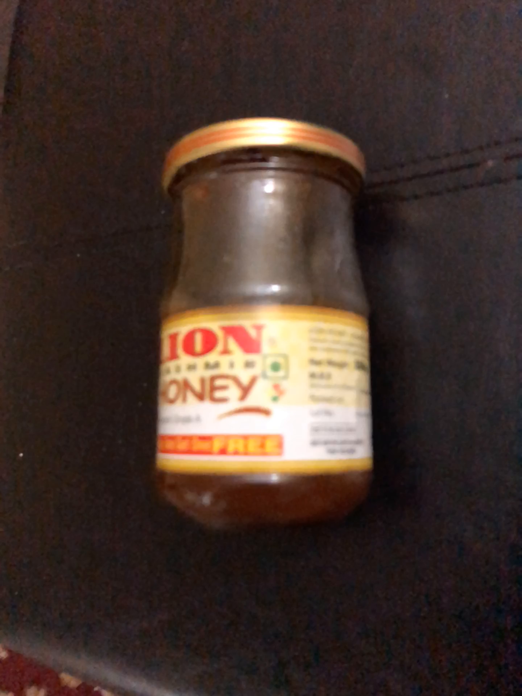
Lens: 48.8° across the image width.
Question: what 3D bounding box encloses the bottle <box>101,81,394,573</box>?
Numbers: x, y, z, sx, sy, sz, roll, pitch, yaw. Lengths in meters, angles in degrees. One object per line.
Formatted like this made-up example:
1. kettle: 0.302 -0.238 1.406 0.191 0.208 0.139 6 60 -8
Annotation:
1. bottle: -0.001 -0.003 0.167 0.060 0.059 0.108 -3 84 31
